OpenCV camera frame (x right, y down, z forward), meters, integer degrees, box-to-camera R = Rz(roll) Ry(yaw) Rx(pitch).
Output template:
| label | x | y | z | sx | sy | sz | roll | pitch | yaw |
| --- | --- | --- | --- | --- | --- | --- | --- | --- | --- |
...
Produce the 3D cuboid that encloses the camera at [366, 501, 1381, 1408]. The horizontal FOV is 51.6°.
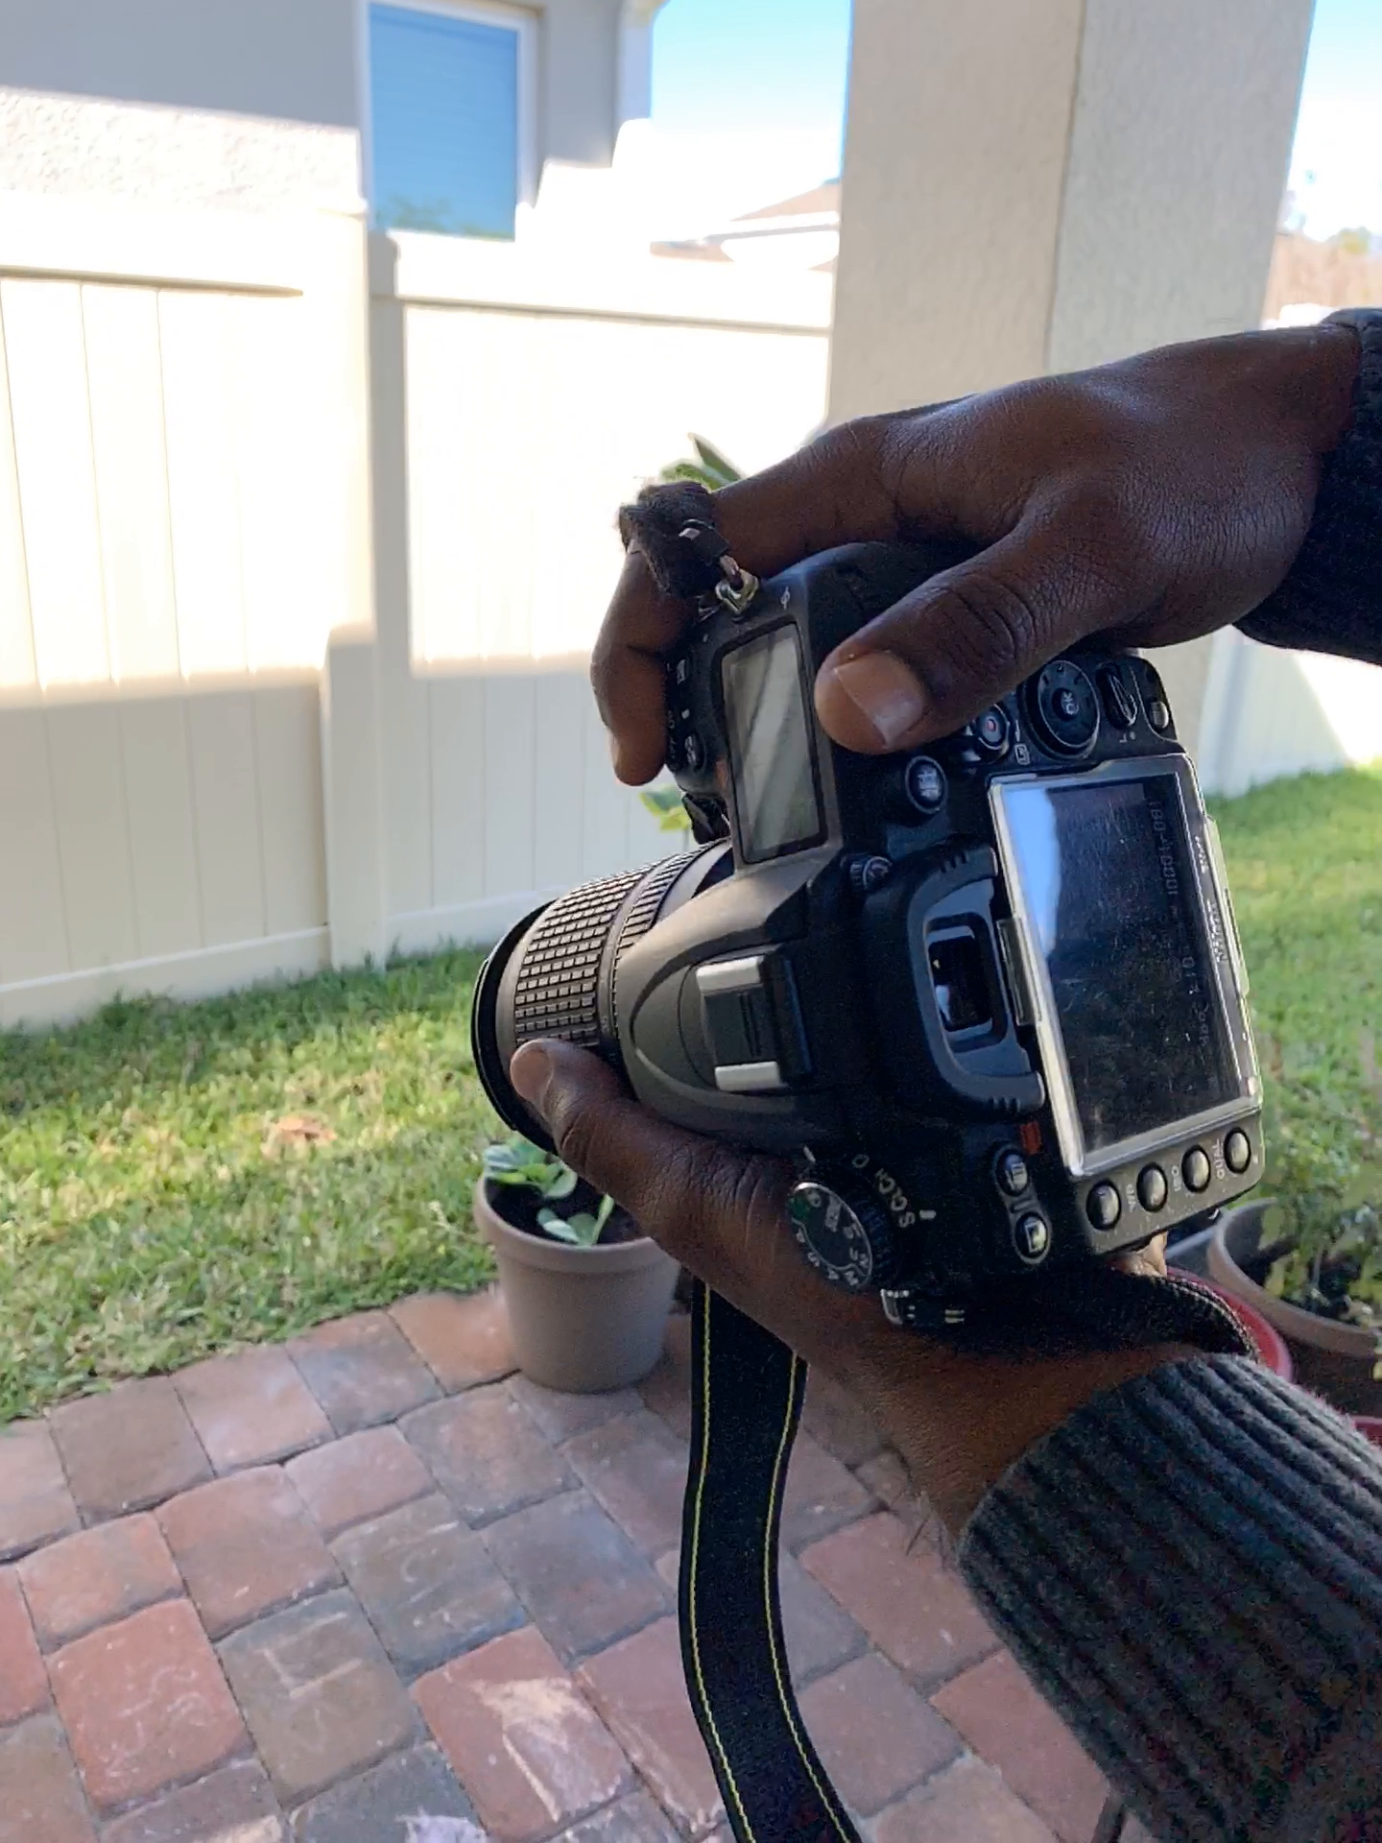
| label | x | y | z | sx | sy | sz | roll | pitch | yaw |
| --- | --- | --- | --- | --- | --- | --- | --- | --- | --- |
| camera | 0.025 | 0.002 | 0.266 | 0.090 | 0.110 | 0.170 | -12 | 3 | -36 |
